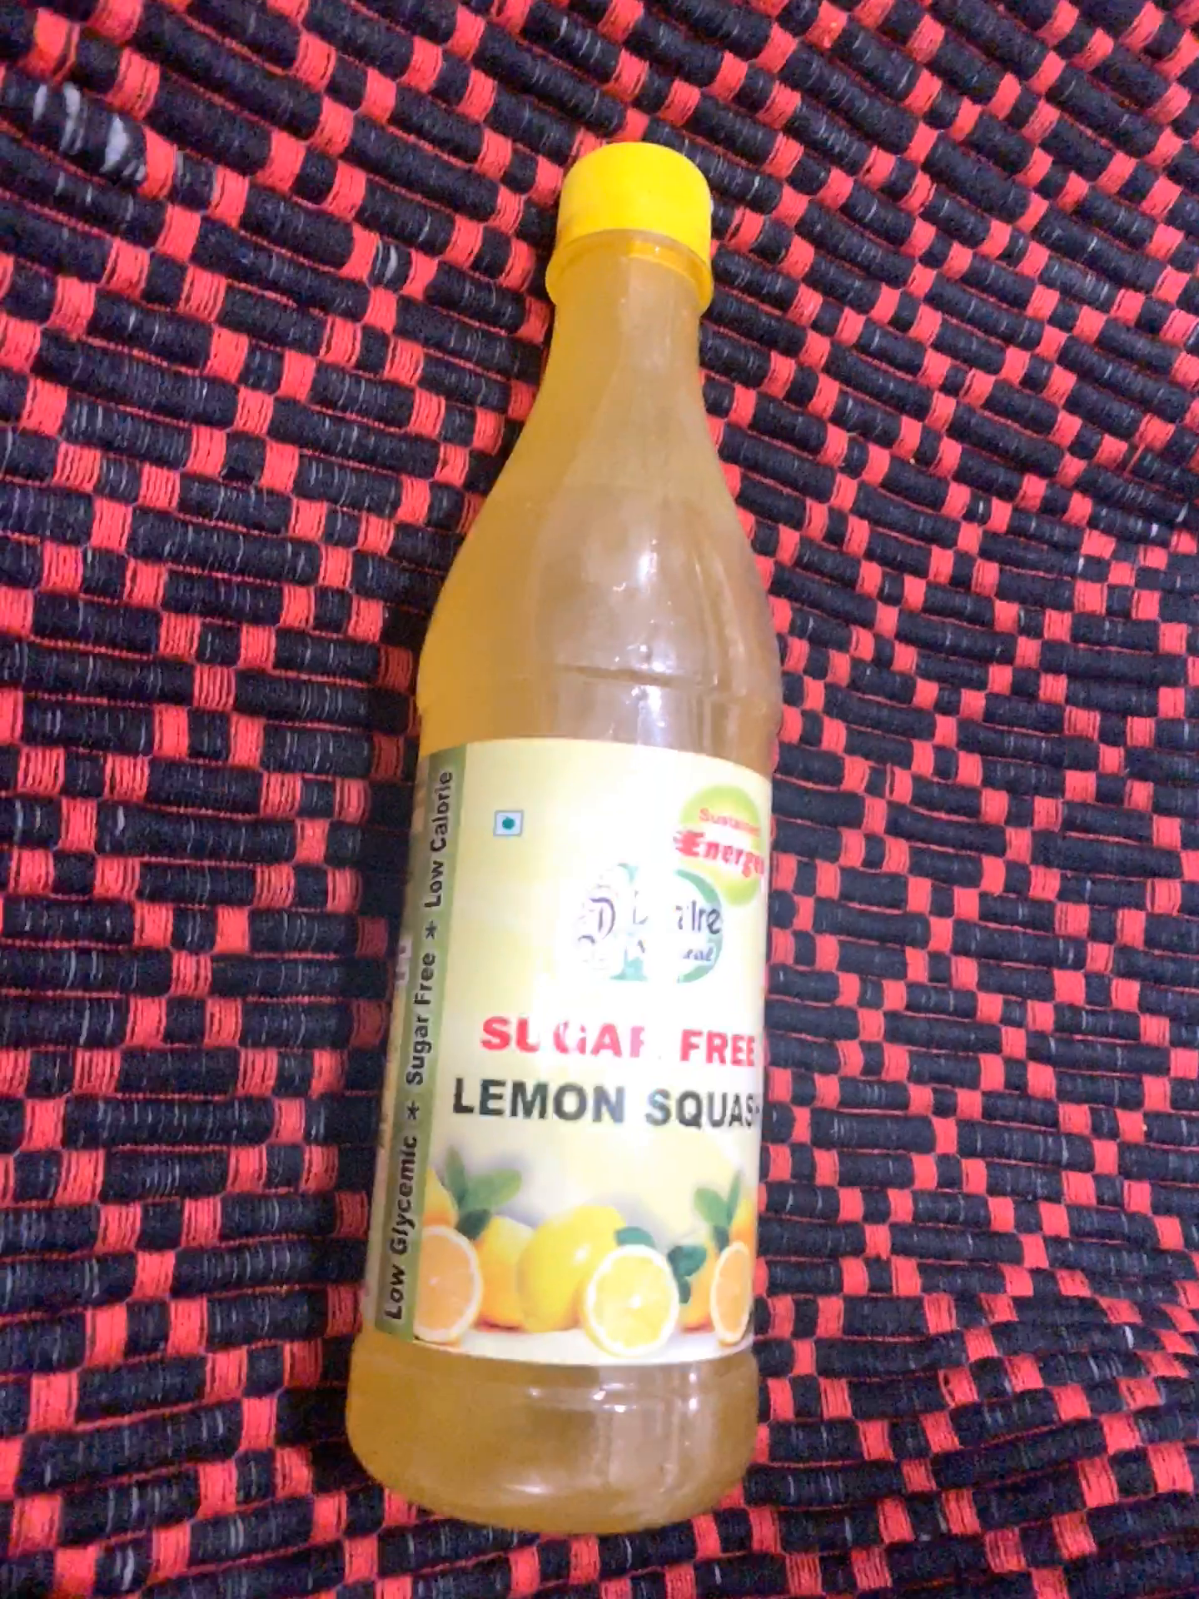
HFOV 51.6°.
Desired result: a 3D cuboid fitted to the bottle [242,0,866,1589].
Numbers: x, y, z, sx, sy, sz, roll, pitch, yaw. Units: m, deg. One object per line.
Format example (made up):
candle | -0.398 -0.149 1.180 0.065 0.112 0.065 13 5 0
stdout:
bottle | -0.005 -0.010 0.213 0.070 0.060 0.230 12 71 -32
